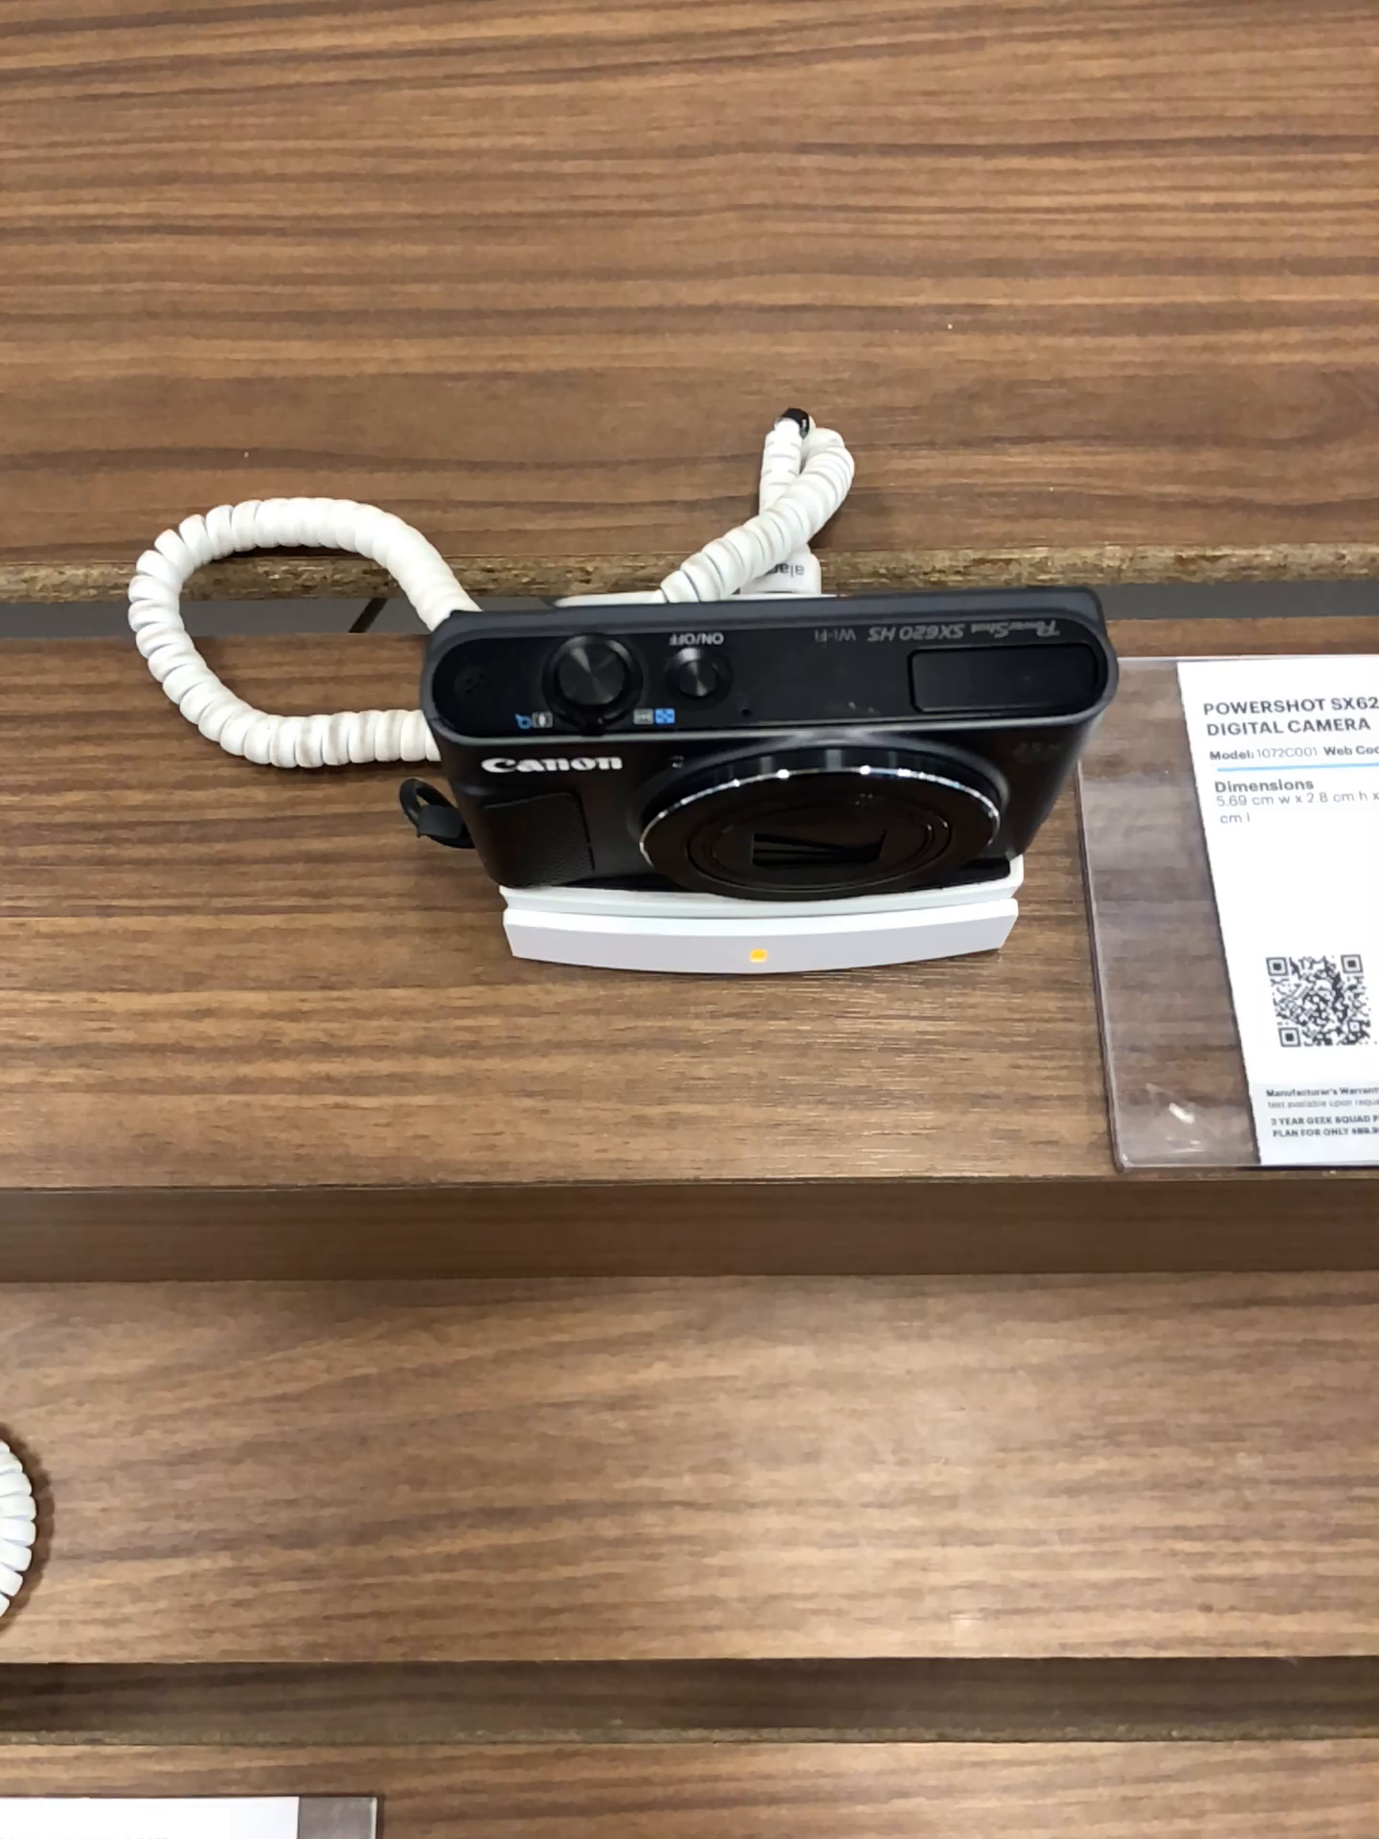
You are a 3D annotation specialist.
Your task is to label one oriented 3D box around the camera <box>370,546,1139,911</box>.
[{"bbox_3d":[0.009,-0.026,0.234,0.100,0.060,0.030,0,69,1],"label":"camera"}]
